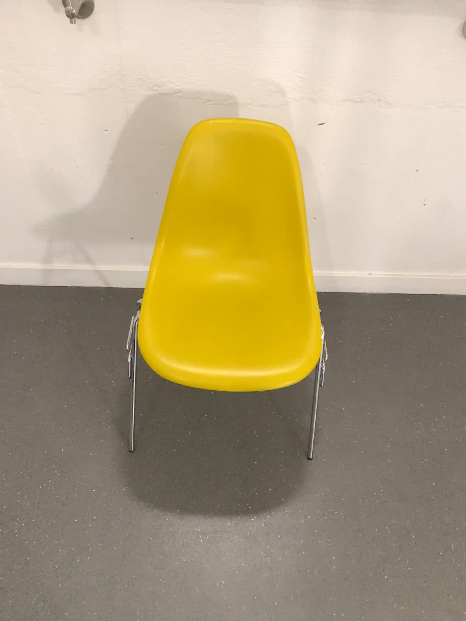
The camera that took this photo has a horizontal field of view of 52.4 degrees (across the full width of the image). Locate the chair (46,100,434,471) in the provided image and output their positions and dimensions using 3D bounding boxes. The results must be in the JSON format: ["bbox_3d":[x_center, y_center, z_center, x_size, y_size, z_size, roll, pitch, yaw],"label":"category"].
[{"bbox_3d":[-0.004,-0.028,1.215,0.620,0.733,0.565,3,47,-2],"label":"chair"}]
